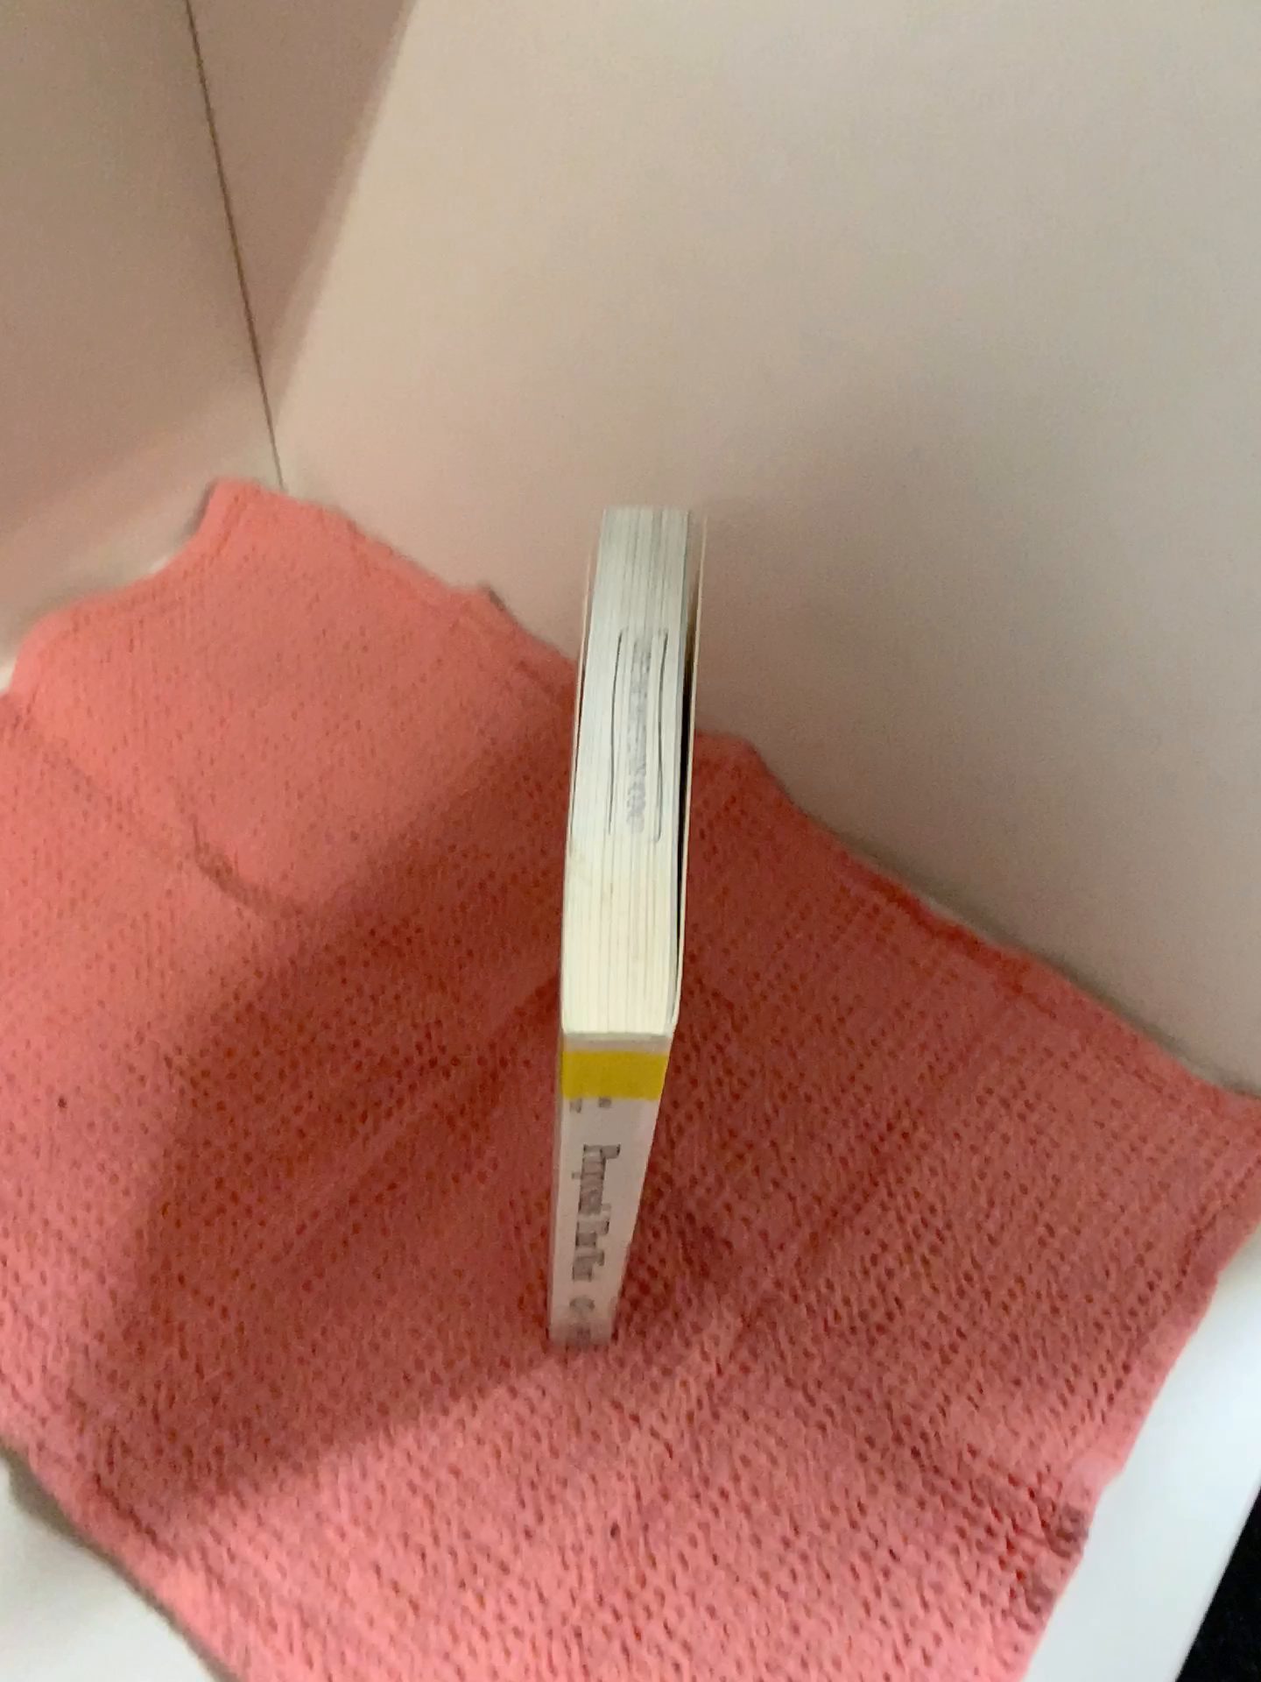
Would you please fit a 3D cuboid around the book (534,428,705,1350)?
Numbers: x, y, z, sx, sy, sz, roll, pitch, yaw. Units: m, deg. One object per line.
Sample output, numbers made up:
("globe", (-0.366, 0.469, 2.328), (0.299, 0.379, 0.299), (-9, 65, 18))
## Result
("book", (-0.006, 0.031, 0.398), (0.030, 0.238, 0.181), (4, 55, -2))
